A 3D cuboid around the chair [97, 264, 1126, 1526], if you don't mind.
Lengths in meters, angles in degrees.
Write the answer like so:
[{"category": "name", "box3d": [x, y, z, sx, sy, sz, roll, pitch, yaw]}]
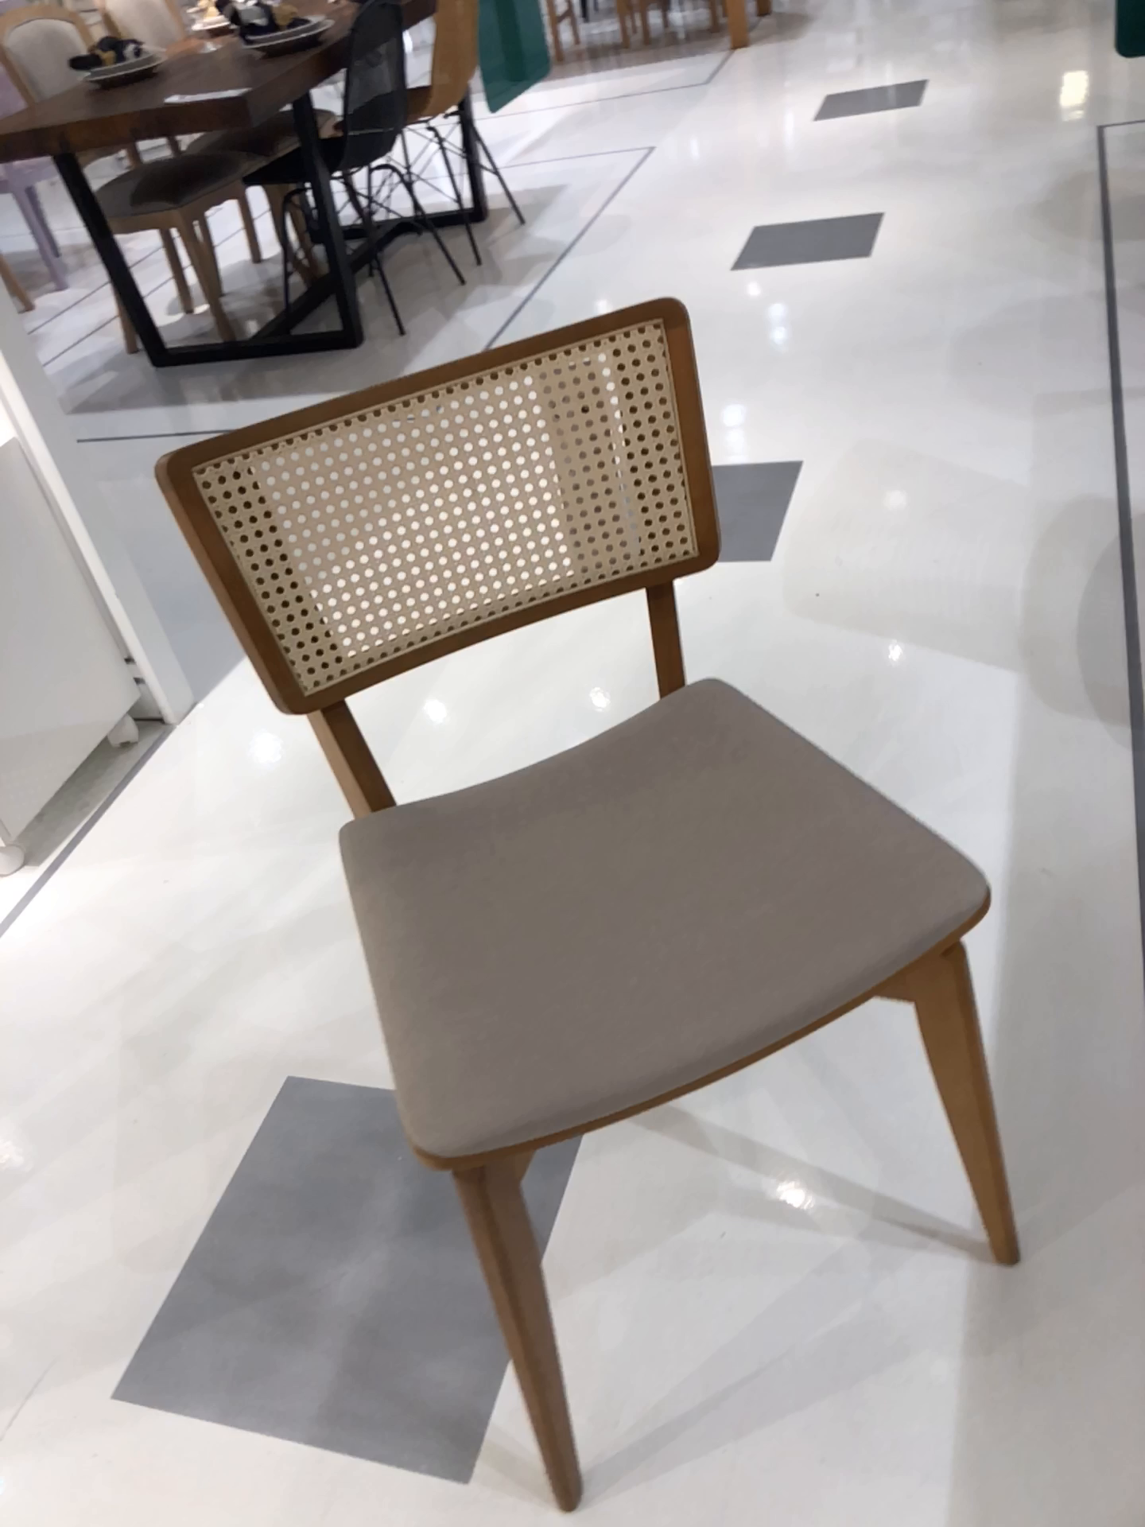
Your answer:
[{"category": "chair", "box3d": [0.028, 0.098, 1.122, 0.540, 0.794, 0.604, -22, 37, -11]}]
